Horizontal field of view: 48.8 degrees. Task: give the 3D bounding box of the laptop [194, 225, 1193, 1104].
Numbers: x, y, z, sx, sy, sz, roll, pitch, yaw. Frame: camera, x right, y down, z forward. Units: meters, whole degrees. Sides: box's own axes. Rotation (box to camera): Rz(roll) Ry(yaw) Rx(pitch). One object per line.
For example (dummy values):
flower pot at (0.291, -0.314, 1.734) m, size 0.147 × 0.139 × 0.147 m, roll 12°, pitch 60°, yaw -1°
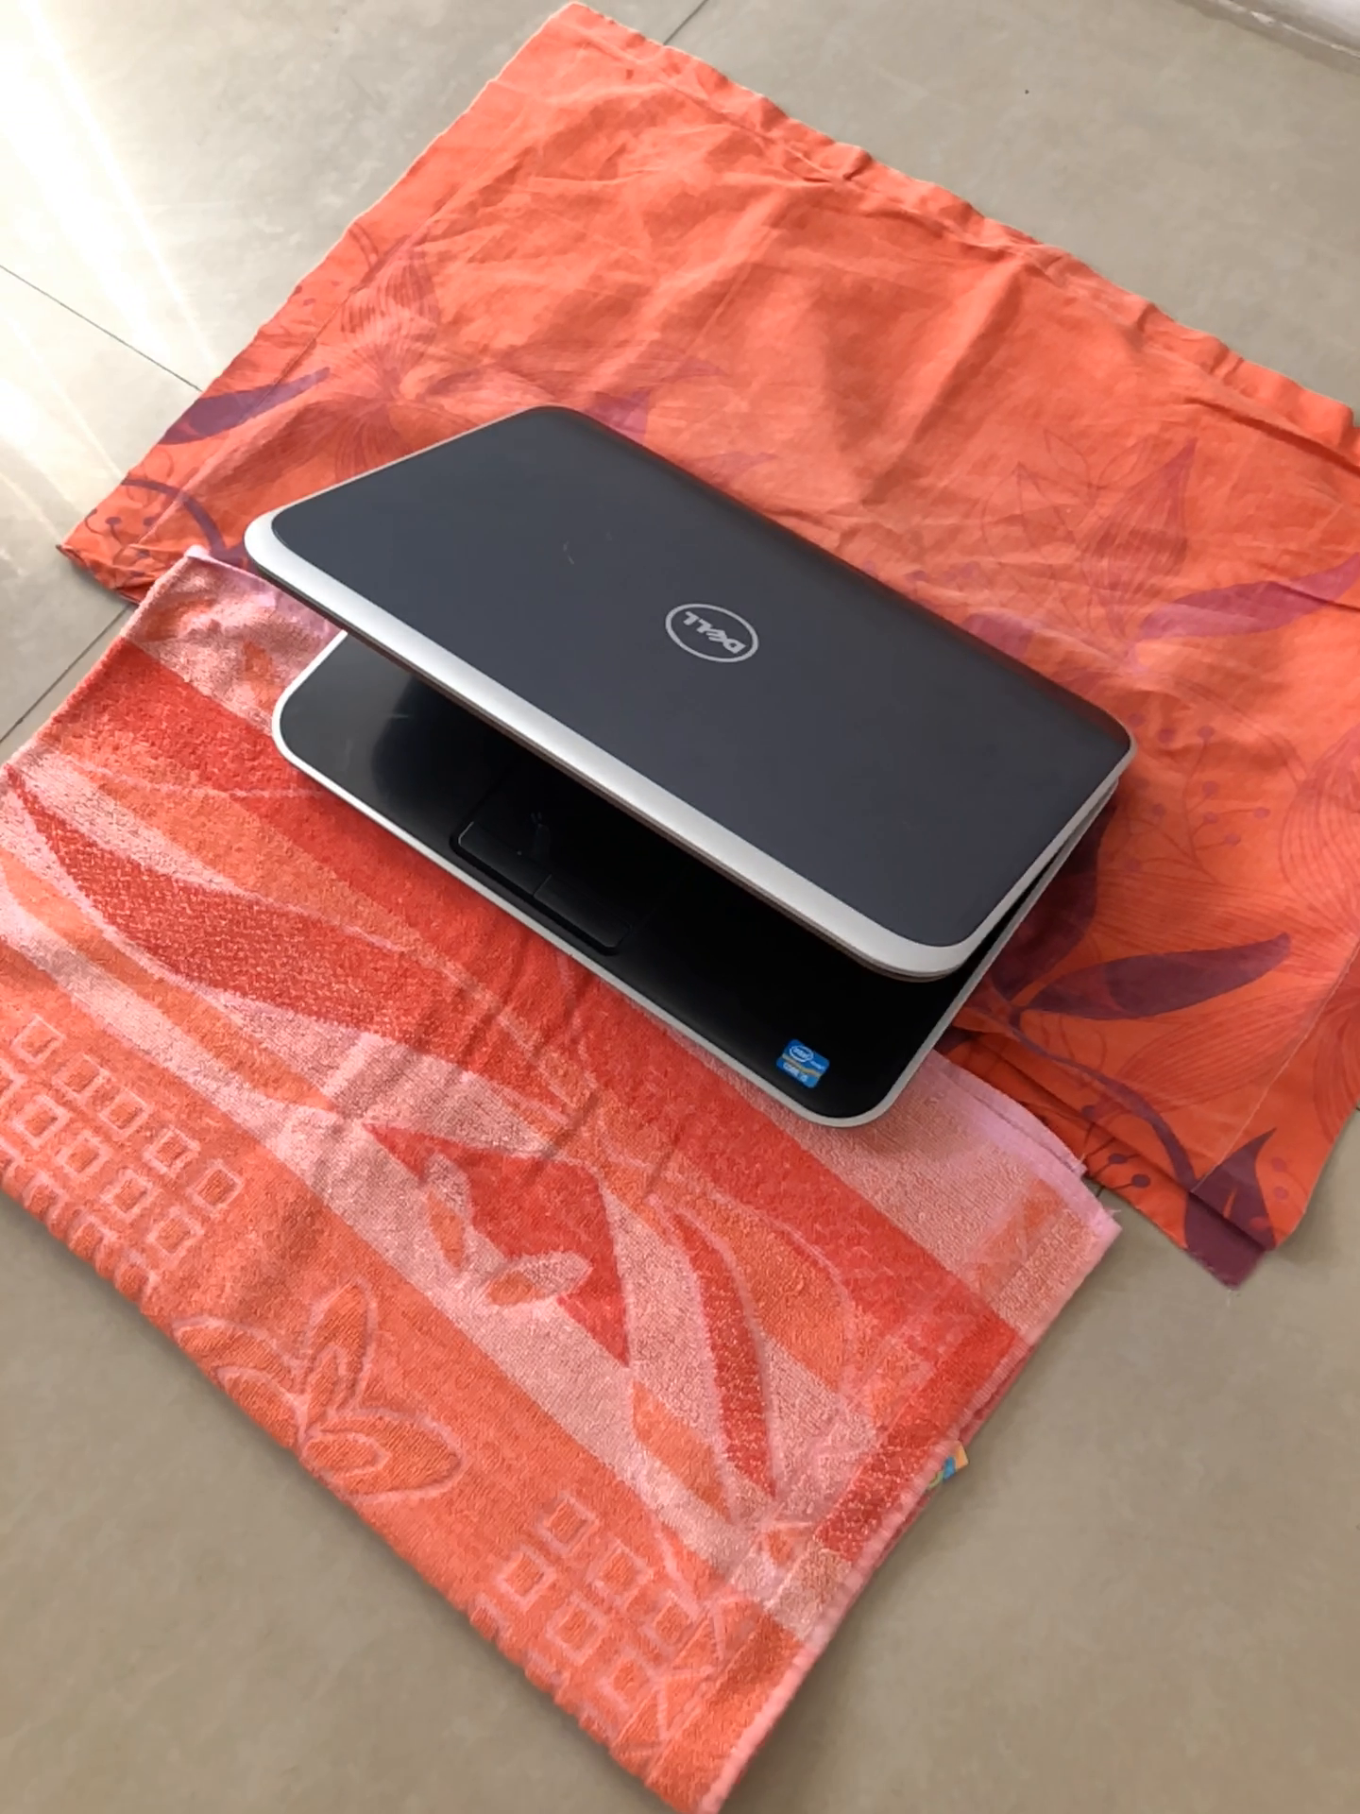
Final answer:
laptop at (0.009, -0.117, 0.690) m, size 0.345 × 0.129 × 0.242 m, roll 33°, pitch 72°, yaw 14°
